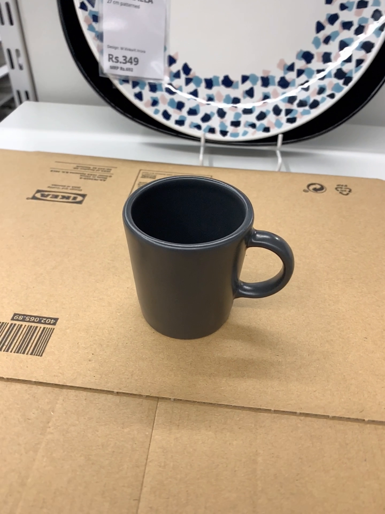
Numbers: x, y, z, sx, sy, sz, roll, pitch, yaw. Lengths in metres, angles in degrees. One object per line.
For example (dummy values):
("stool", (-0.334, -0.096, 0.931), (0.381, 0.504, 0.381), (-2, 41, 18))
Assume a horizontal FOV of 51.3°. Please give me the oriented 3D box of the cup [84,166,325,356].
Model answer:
("cup", (0.005, 0.000, 0.192), (0.090, 0.060, 0.060), (4, 39, 2))
